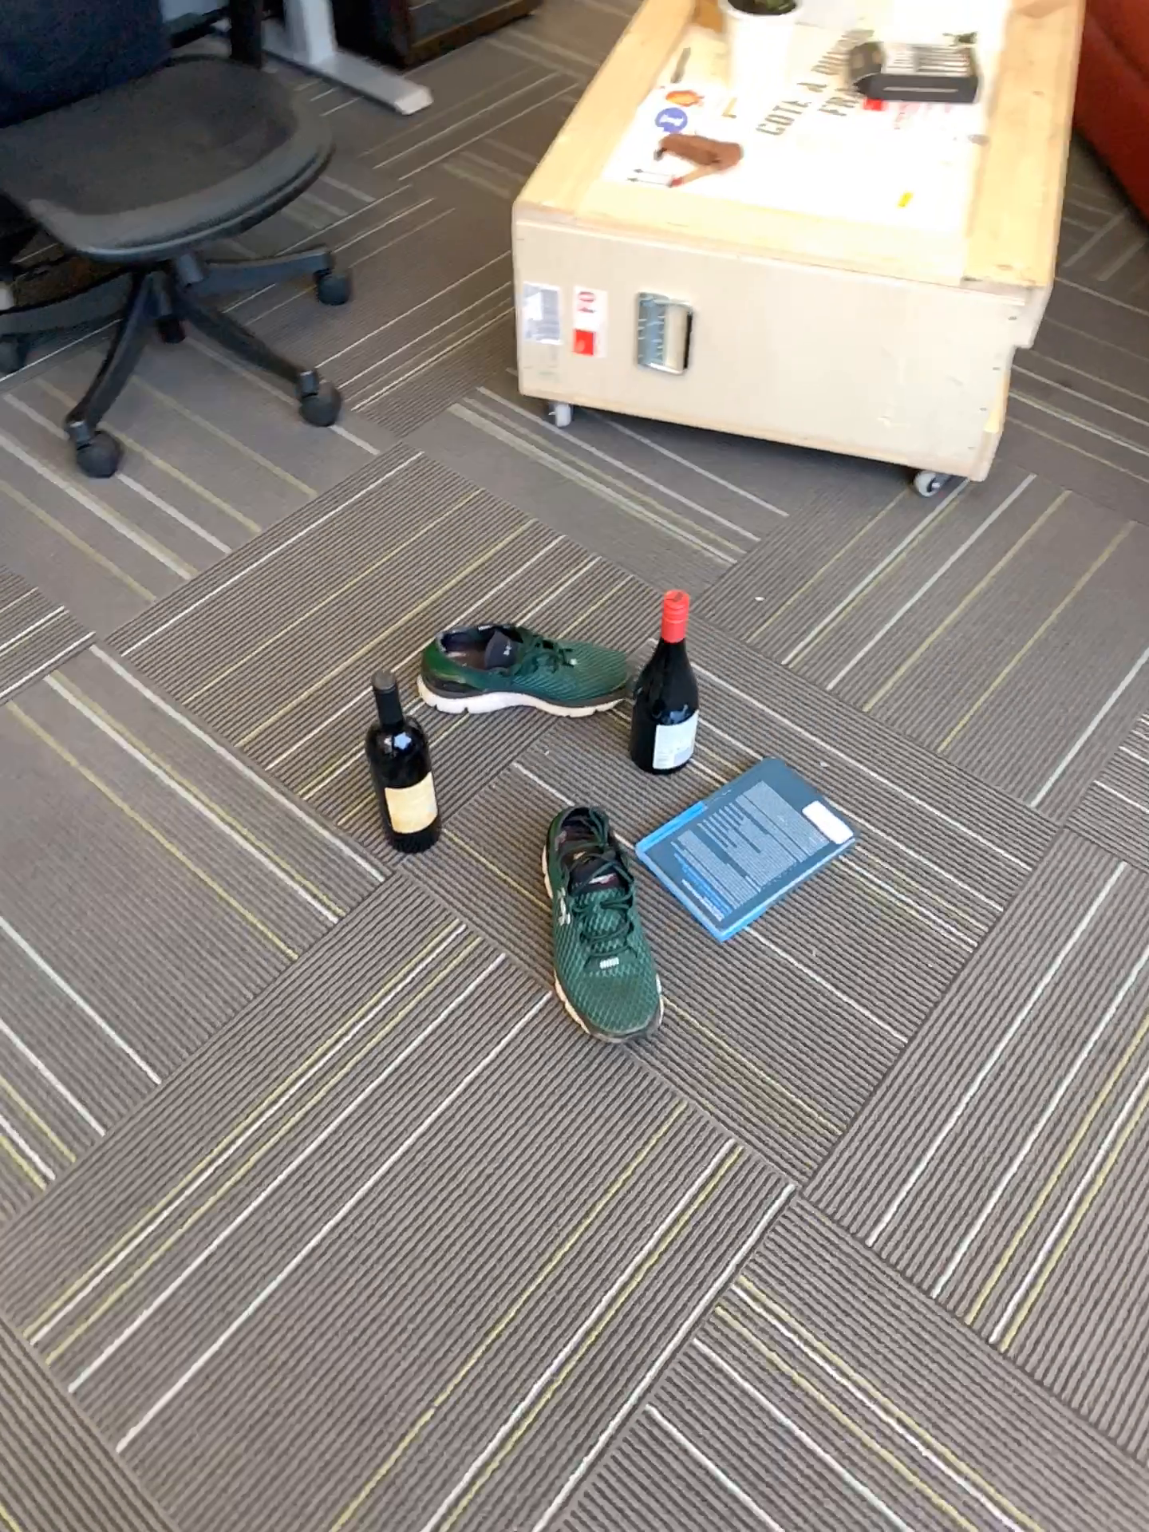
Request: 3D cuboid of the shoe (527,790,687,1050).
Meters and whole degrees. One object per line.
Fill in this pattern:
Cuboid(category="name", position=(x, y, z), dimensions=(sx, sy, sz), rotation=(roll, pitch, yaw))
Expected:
Cuboid(category="shoe", position=(0.031, 0.173, 1.339), dimensions=(0.130, 0.139, 0.241), rotation=(-8, 54, -6))

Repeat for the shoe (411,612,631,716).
Cuboid(category="shoe", position=(-0.071, -0.141, 1.613), dimensions=(0.290, 0.080, 0.121), rotation=(0, 53, 0))
